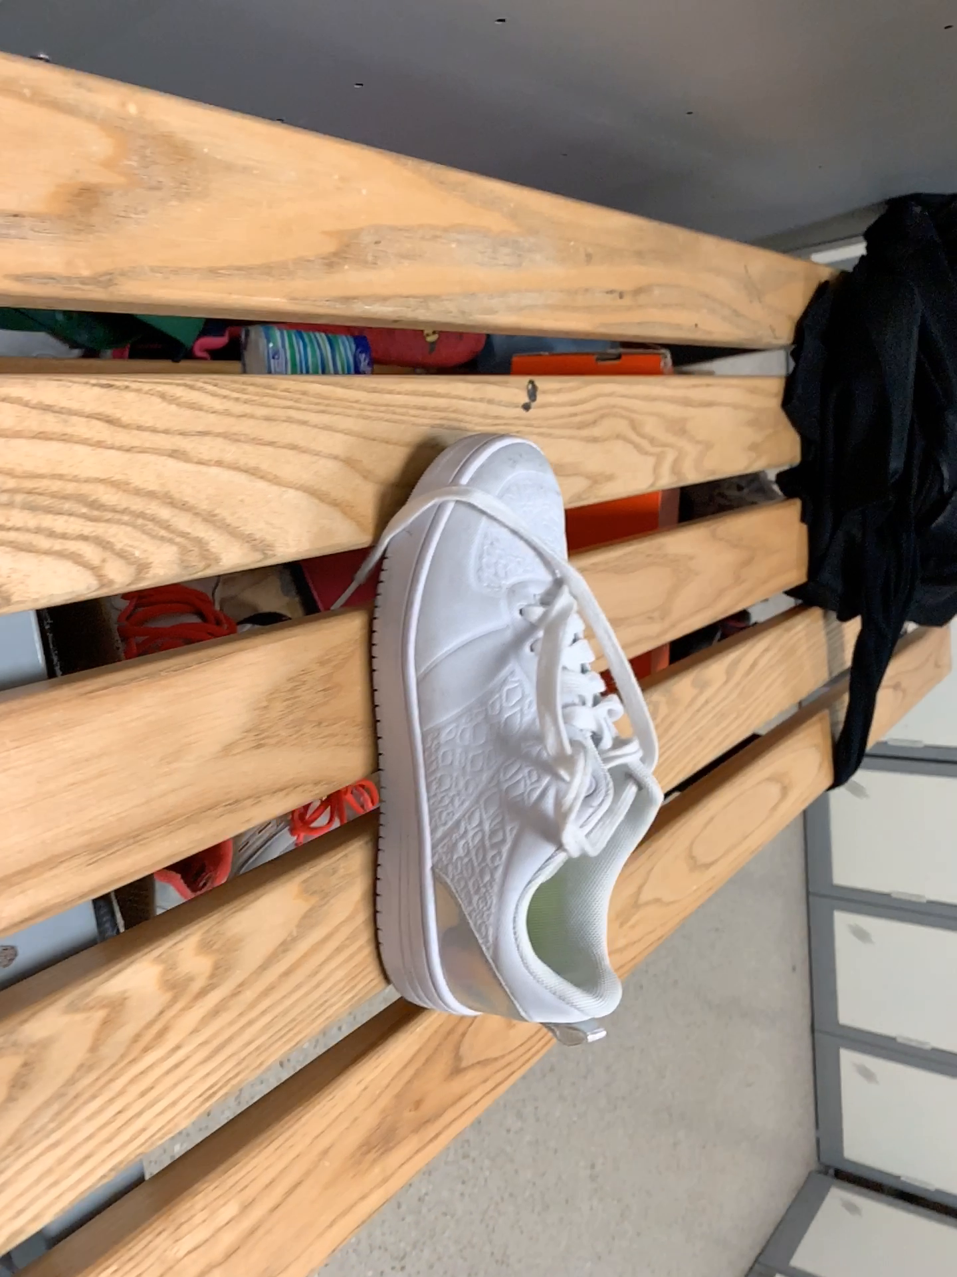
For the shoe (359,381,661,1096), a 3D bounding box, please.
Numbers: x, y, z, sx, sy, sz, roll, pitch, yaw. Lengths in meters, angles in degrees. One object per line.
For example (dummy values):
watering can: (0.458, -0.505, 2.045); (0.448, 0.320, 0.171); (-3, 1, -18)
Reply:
shoe: (0.016, 0.034, 0.406); (0.100, 0.076, 0.250); (-4, 94, -52)
